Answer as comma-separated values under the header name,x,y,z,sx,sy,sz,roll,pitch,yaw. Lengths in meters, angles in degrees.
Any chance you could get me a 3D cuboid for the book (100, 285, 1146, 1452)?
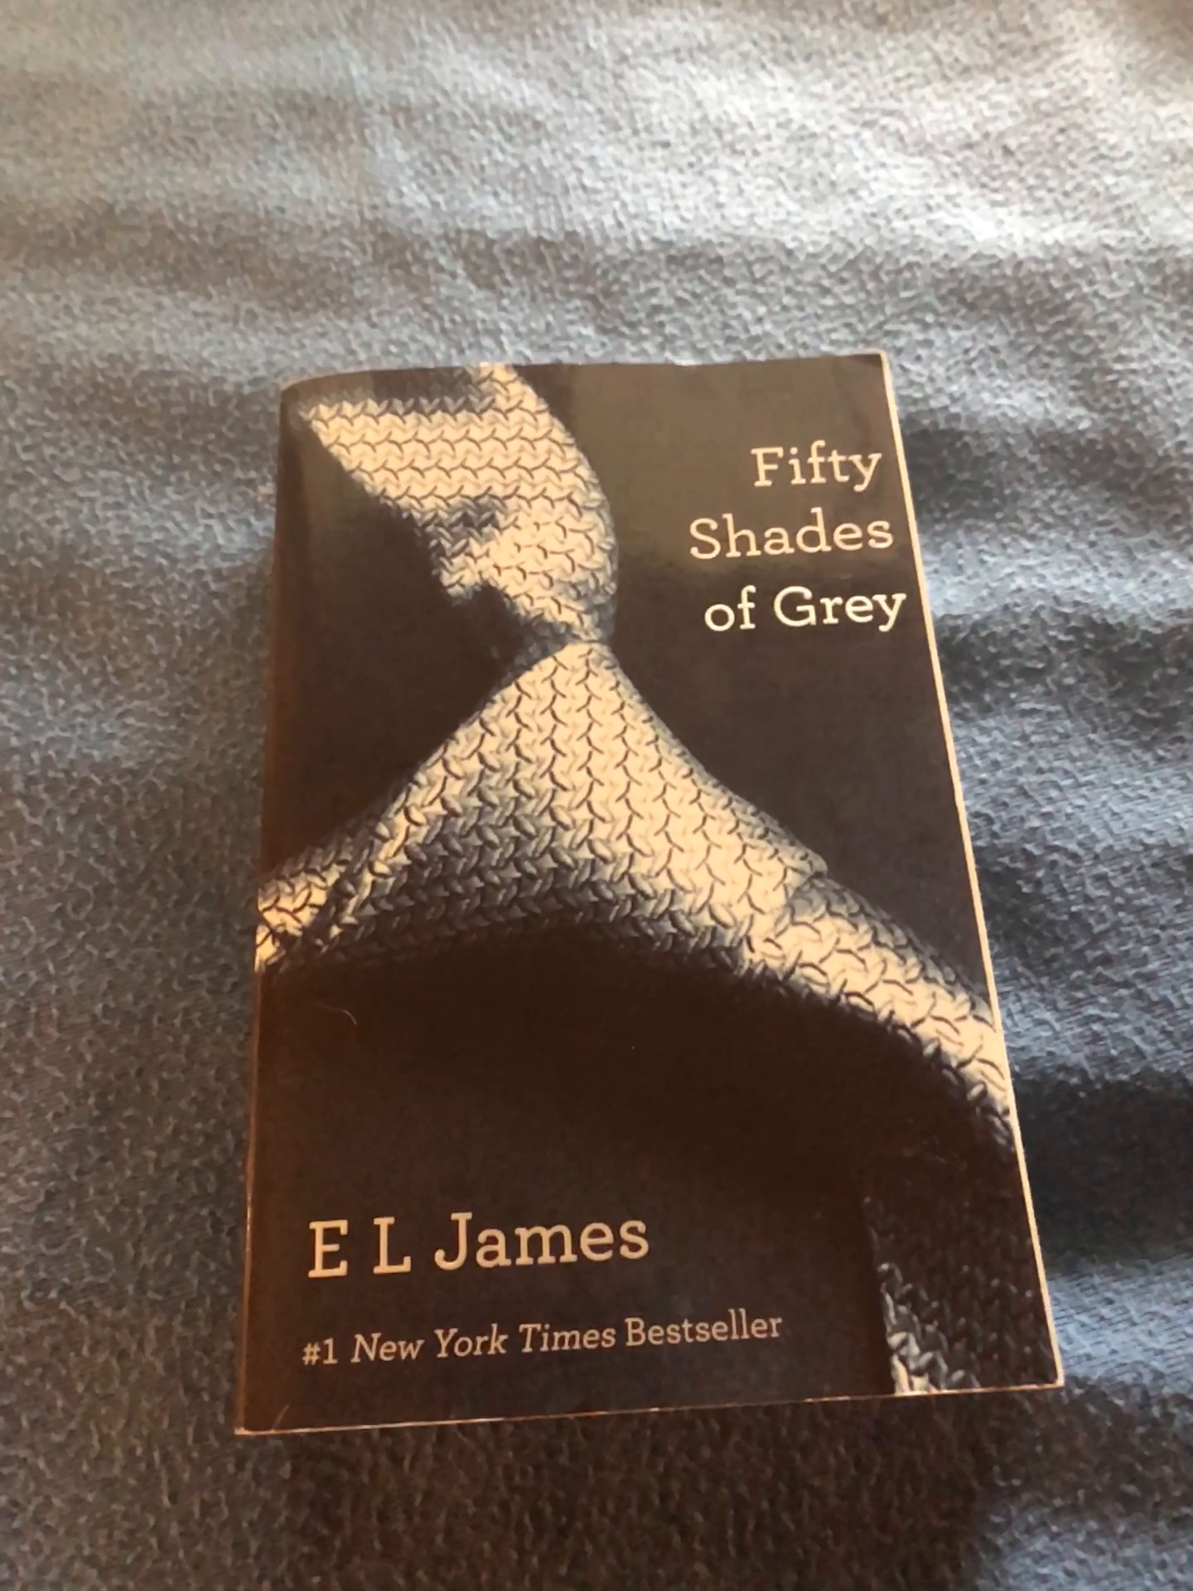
name,x,y,z,sx,sy,sz,roll,pitch,yaw
book,-0.001,0.002,0.251,0.150,0.040,0.211,-3,66,0
